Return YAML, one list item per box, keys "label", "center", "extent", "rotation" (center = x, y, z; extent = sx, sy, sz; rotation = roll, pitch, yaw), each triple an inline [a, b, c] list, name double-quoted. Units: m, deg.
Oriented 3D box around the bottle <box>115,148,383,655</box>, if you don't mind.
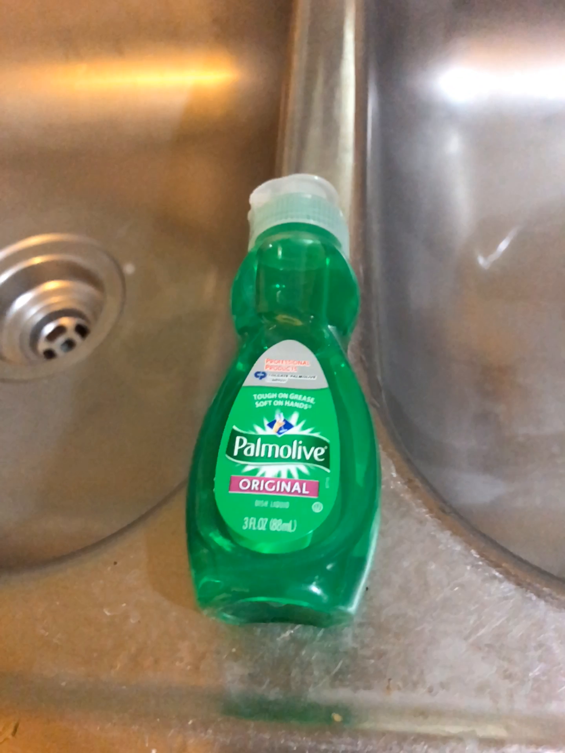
- label: "bottle"
  center: [-0.002, -0.002, 0.165]
  extent: [0.050, 0.030, 0.130]
  rotation: [0, 58, 7]
